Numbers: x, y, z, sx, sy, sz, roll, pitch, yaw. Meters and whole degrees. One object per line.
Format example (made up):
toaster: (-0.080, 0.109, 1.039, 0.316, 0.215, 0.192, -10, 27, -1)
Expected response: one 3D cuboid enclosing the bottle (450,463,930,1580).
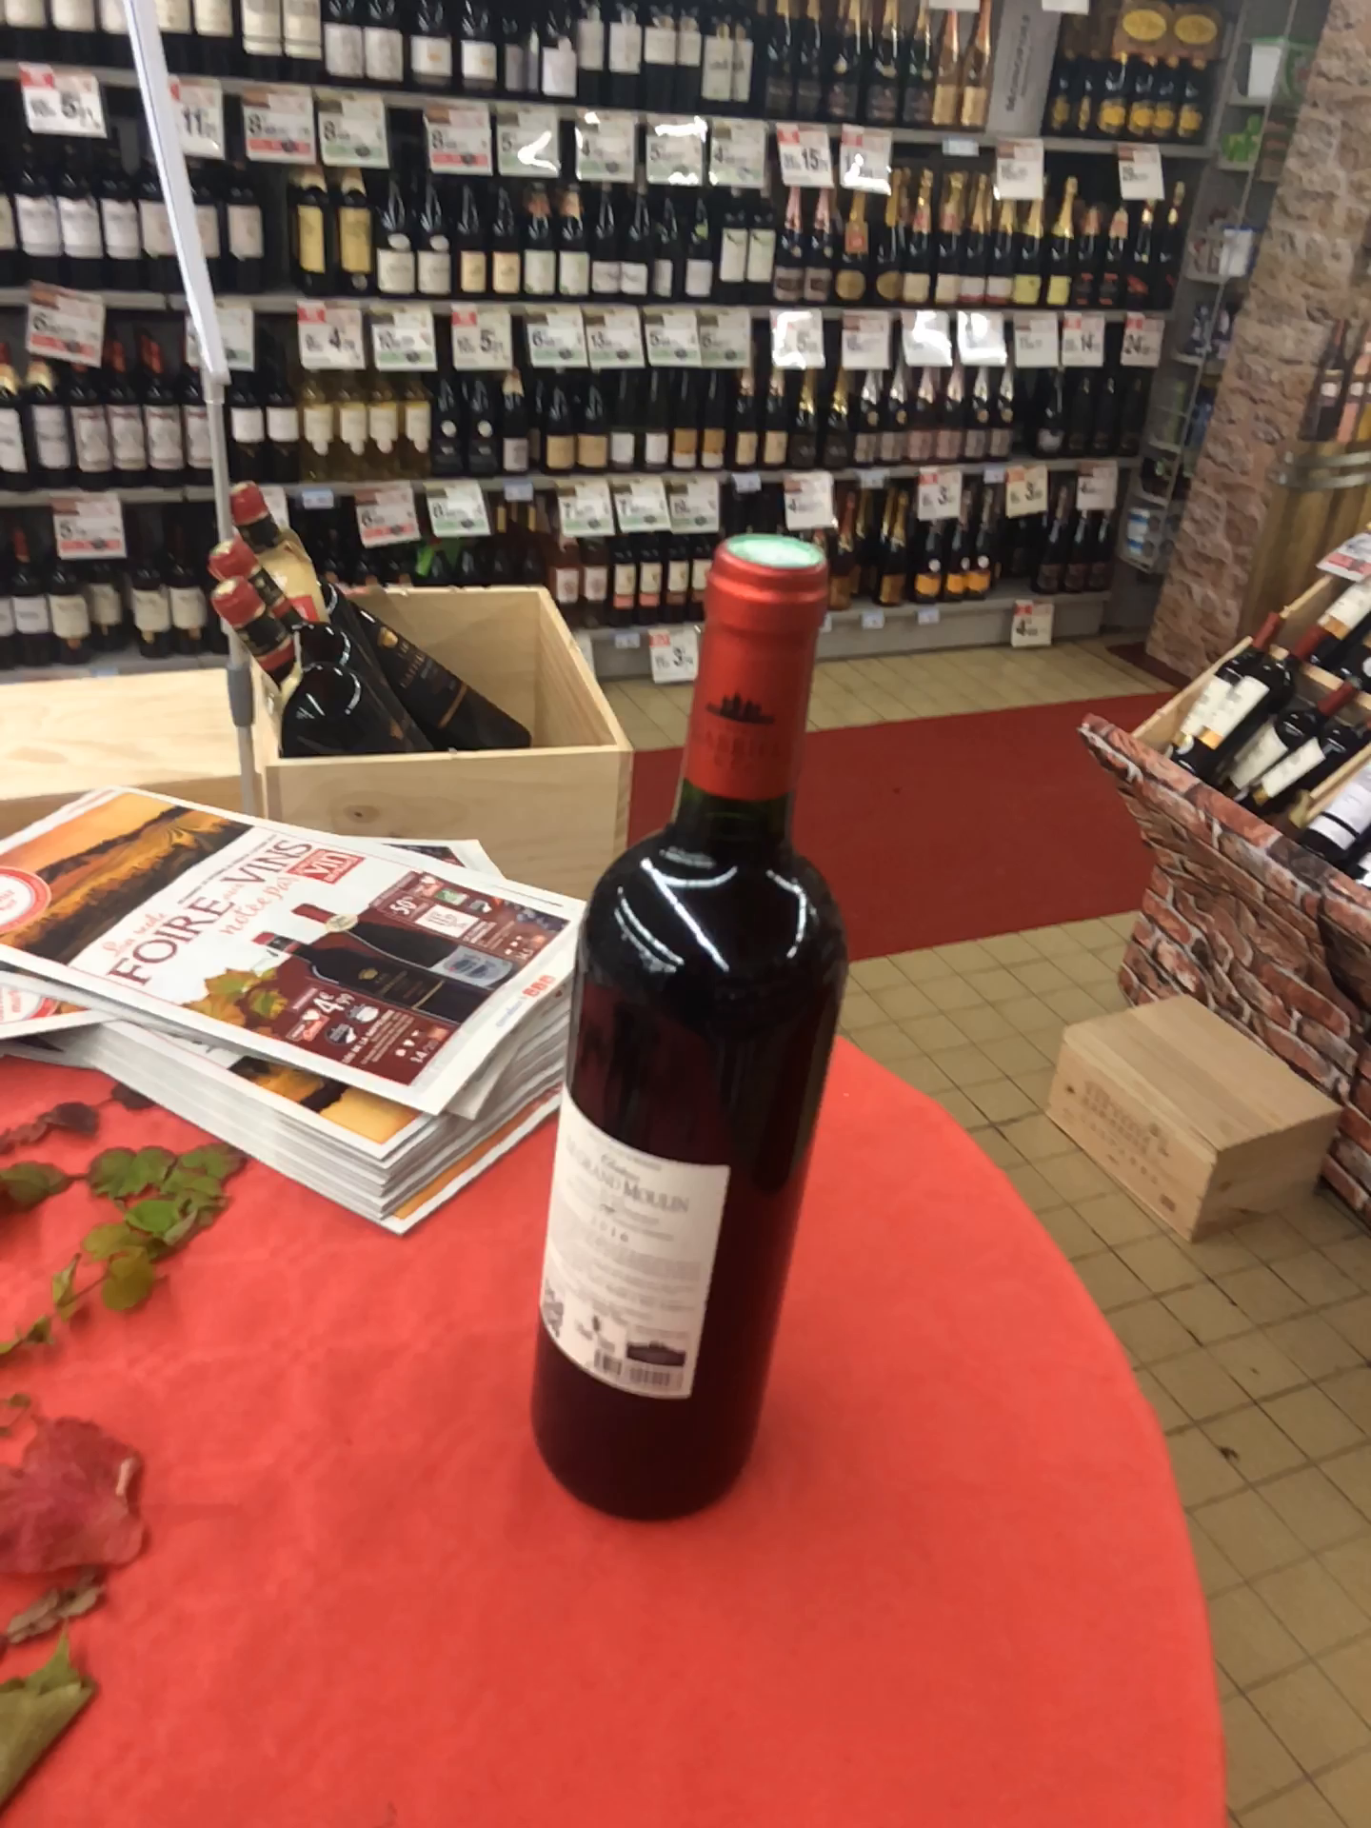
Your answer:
bottle: (-0.008, 0.040, 0.416, 0.080, 0.298, 0.081, 4, 30, -2)
